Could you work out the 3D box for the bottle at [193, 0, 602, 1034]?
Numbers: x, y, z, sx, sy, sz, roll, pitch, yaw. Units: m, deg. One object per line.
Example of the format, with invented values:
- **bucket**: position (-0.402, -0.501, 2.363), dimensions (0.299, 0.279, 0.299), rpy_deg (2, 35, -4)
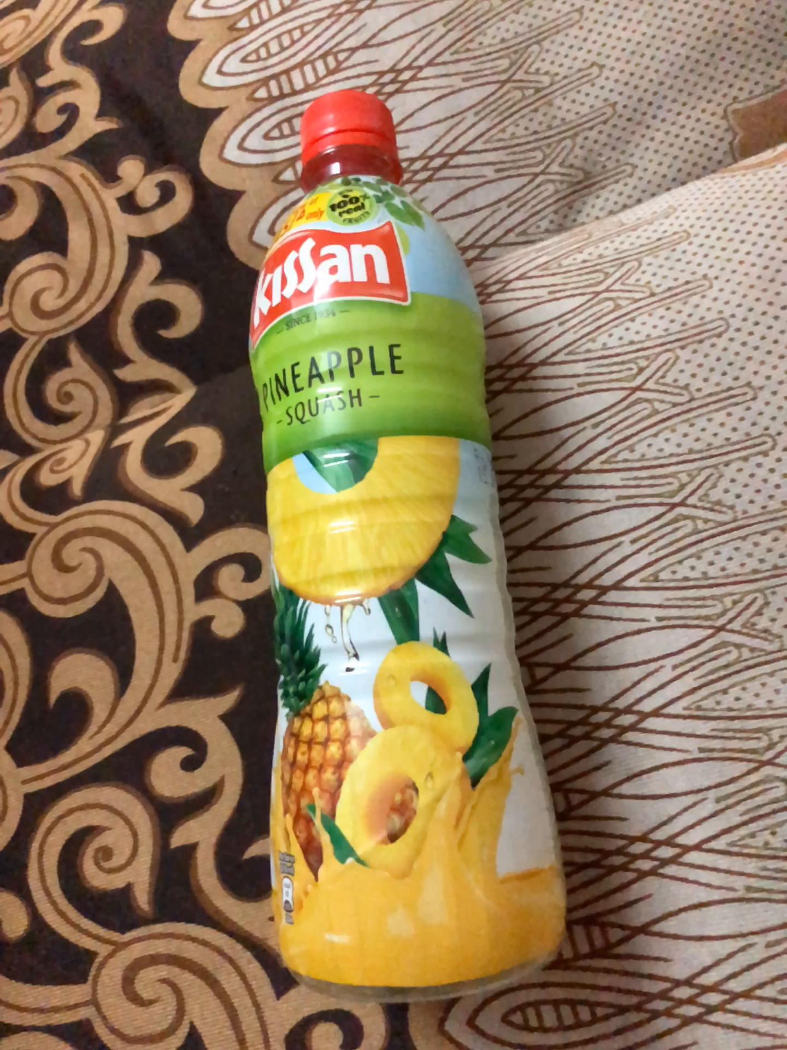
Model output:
- **bottle**: position (-0.001, -0.012, 0.228), dimensions (0.070, 0.060, 0.240), rpy_deg (-9, 78, 18)
